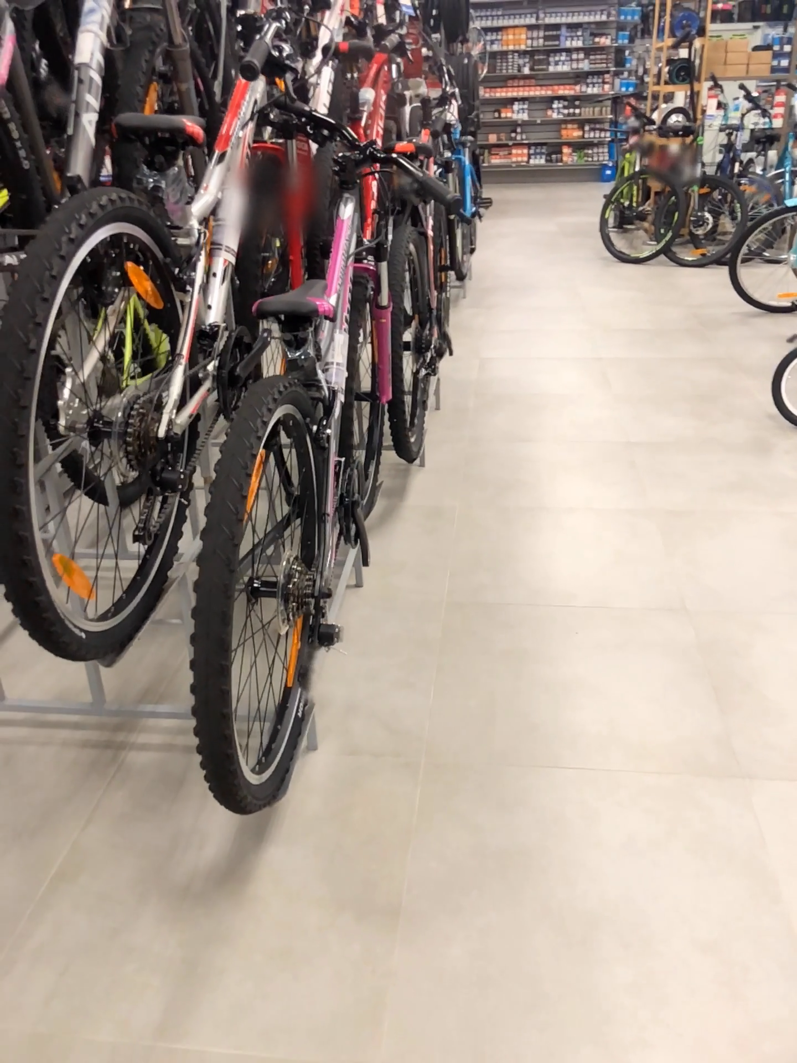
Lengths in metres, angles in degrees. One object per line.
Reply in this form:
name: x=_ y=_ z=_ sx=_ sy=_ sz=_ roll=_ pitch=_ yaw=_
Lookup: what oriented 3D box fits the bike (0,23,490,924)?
bike: x=-0.140 y=-0.374 z=1.652 sx=0.598 sy=0.990 sz=1.615 roll=1 pitch=29 yaw=6
